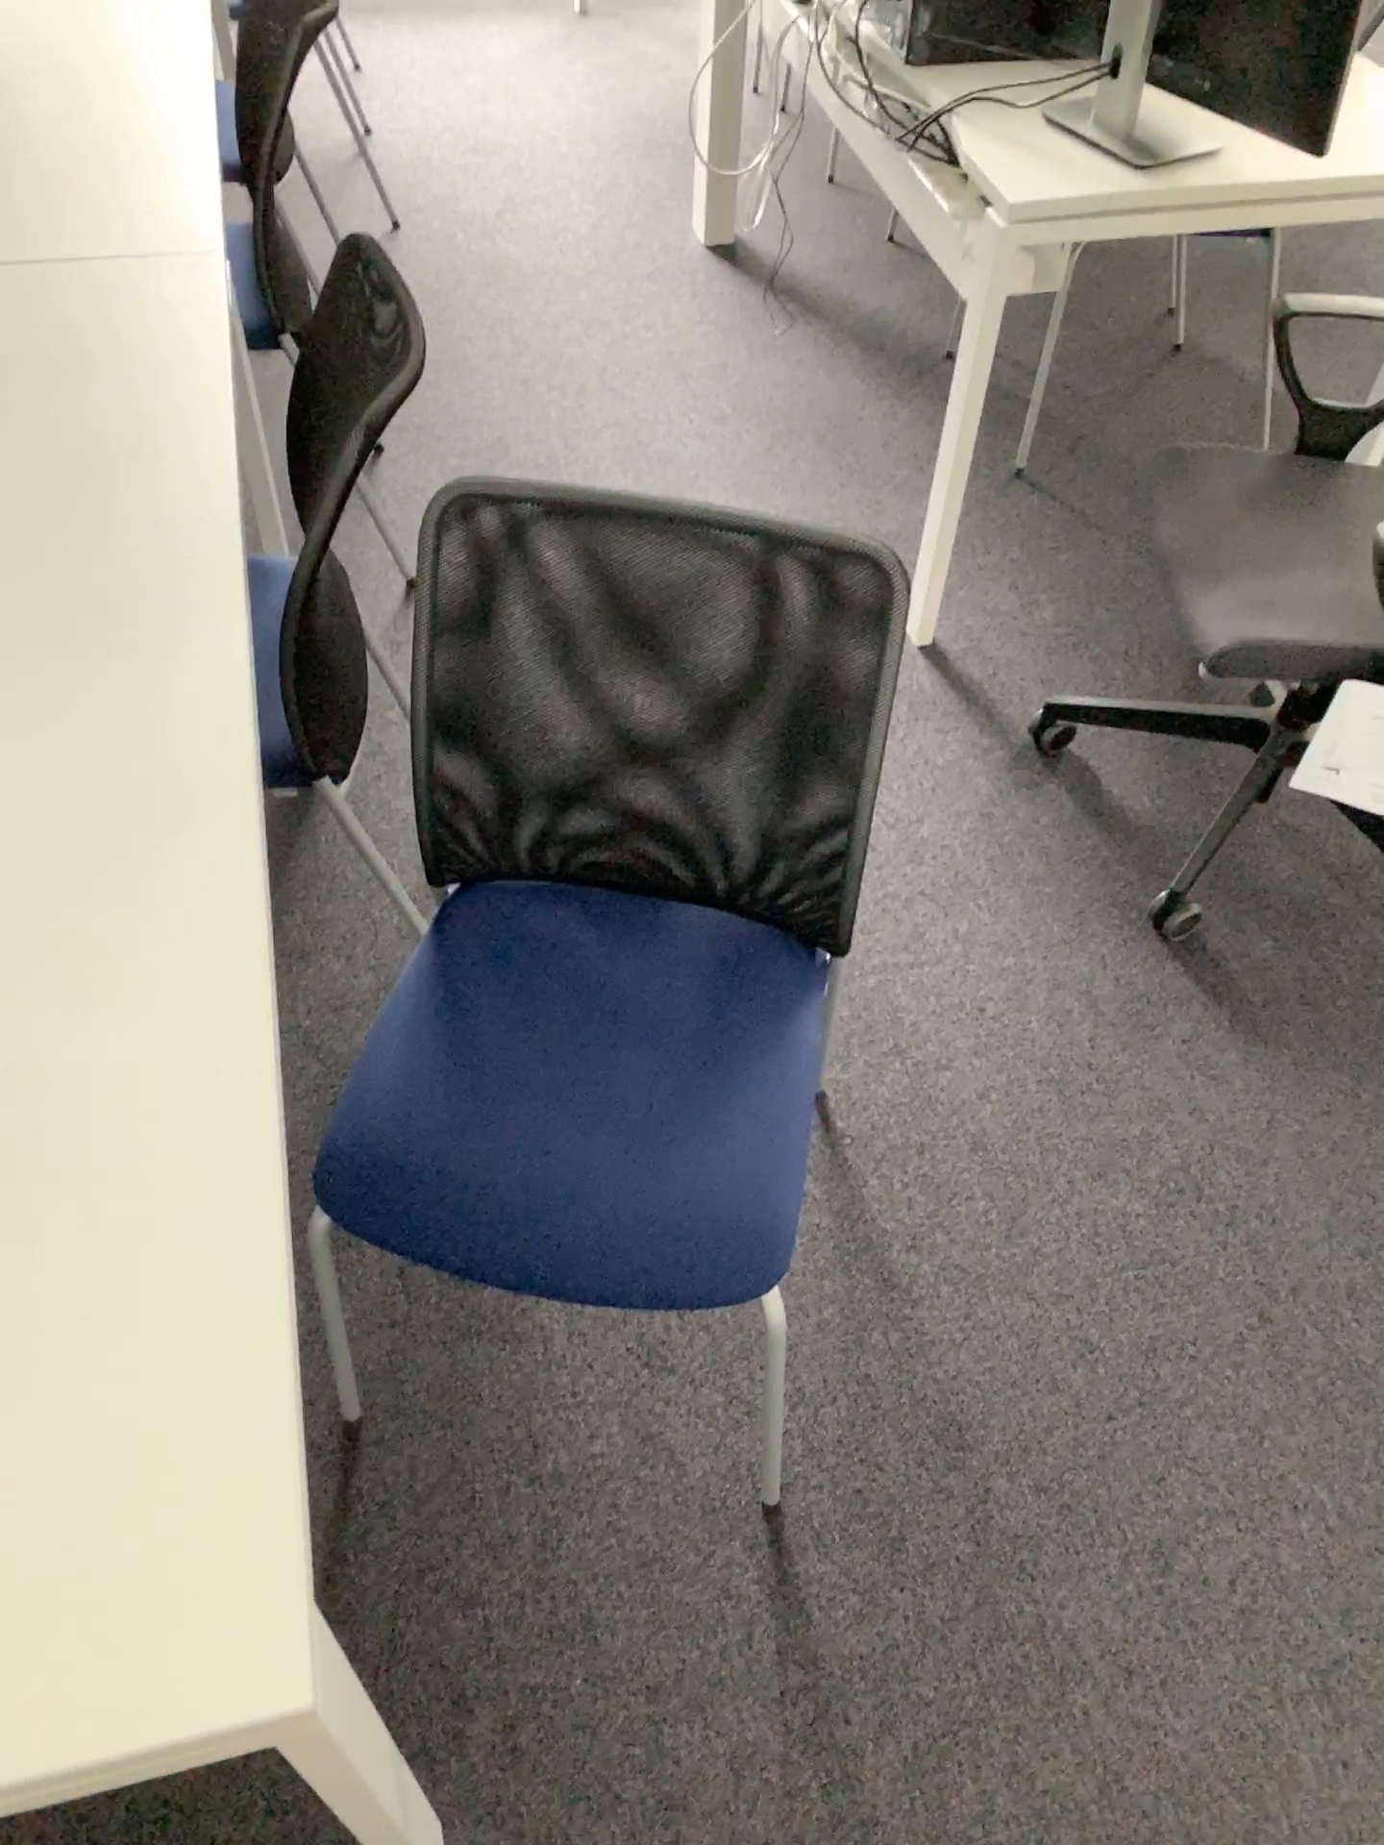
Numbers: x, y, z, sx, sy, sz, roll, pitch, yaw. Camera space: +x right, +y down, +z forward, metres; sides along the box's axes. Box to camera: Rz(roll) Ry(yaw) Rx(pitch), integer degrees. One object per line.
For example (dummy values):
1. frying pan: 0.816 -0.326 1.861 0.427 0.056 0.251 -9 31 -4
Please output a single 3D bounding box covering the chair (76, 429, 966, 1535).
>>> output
1. chair: -0.098 0.108 1.413 0.540 0.896 0.603 9 49 4
